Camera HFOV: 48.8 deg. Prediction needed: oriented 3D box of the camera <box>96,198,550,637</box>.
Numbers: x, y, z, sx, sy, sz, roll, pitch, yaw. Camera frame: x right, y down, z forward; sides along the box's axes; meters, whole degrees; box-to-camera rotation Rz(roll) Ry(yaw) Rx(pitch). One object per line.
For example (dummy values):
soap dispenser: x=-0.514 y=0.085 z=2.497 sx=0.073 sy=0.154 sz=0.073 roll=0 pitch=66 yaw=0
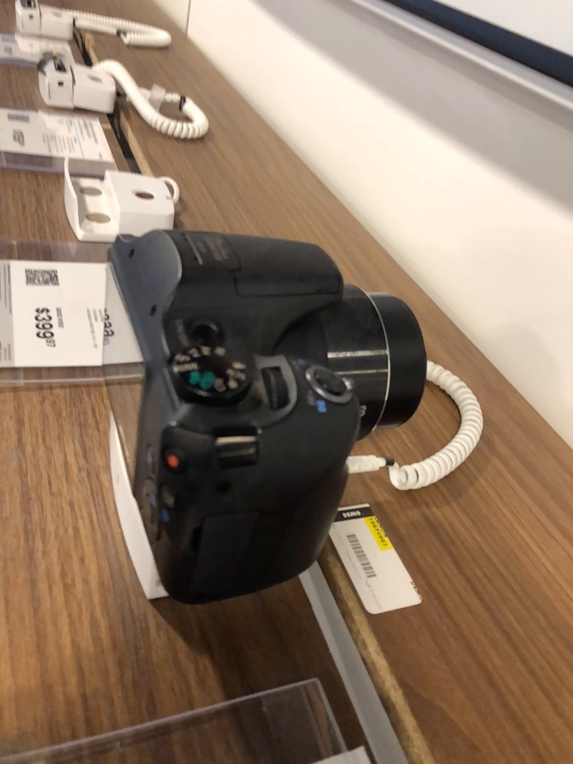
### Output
camera: x=-0.002 y=0.002 z=0.223 sx=0.101 sy=0.079 sz=0.121 roll=-4 pitch=40 yaw=-27
